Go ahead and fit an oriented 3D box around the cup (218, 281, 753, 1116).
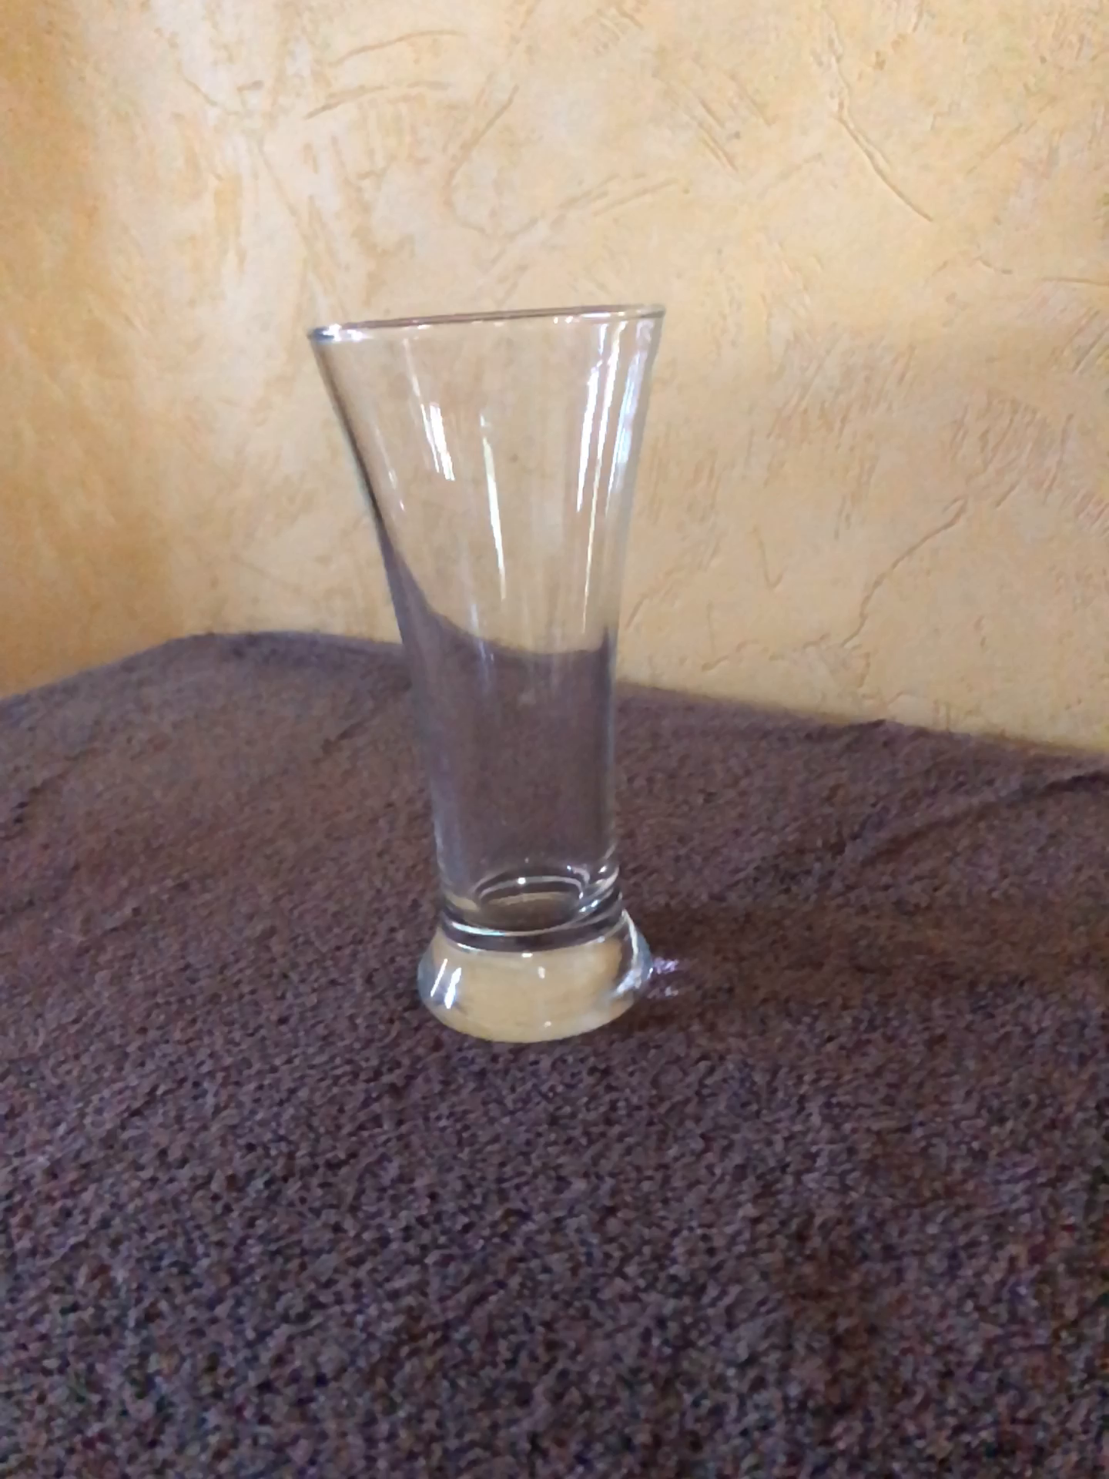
[{"bbox_3d":[-0.003,-0.013,0.256,0.080,0.149,0.080,-4,19,1],"label":"cup"}]
